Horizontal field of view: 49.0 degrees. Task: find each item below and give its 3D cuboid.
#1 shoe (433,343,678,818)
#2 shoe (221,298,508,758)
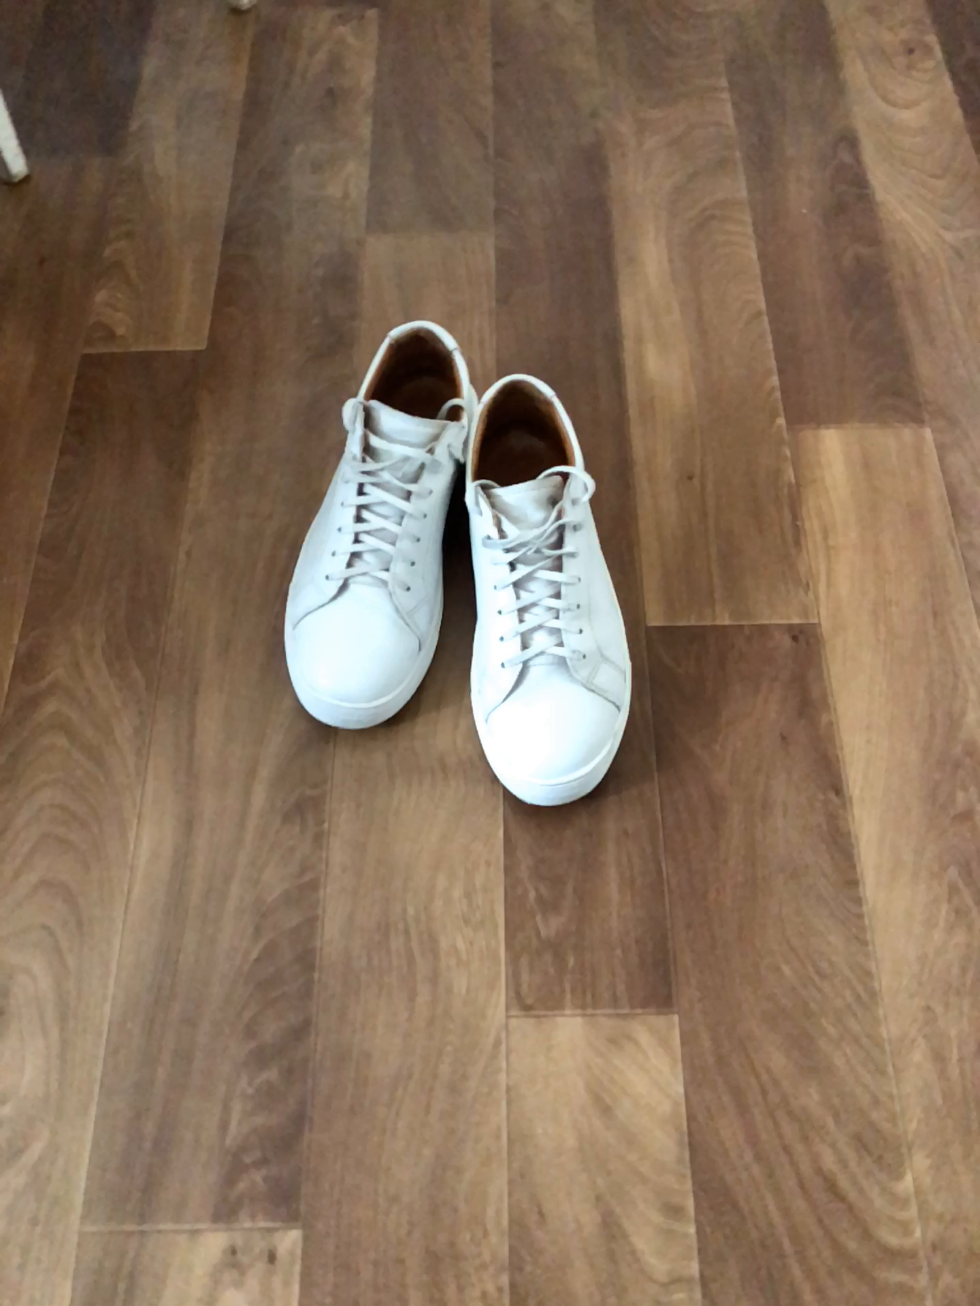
[{"bbox_3d":[0.032,-0.051,0.670,0.110,0.090,0.281,-5,63,-2],"label":"shoe"},{"bbox_3d":[-0.068,-0.087,0.695,0.110,0.090,0.281,10,63,6],"label":"shoe"}]
